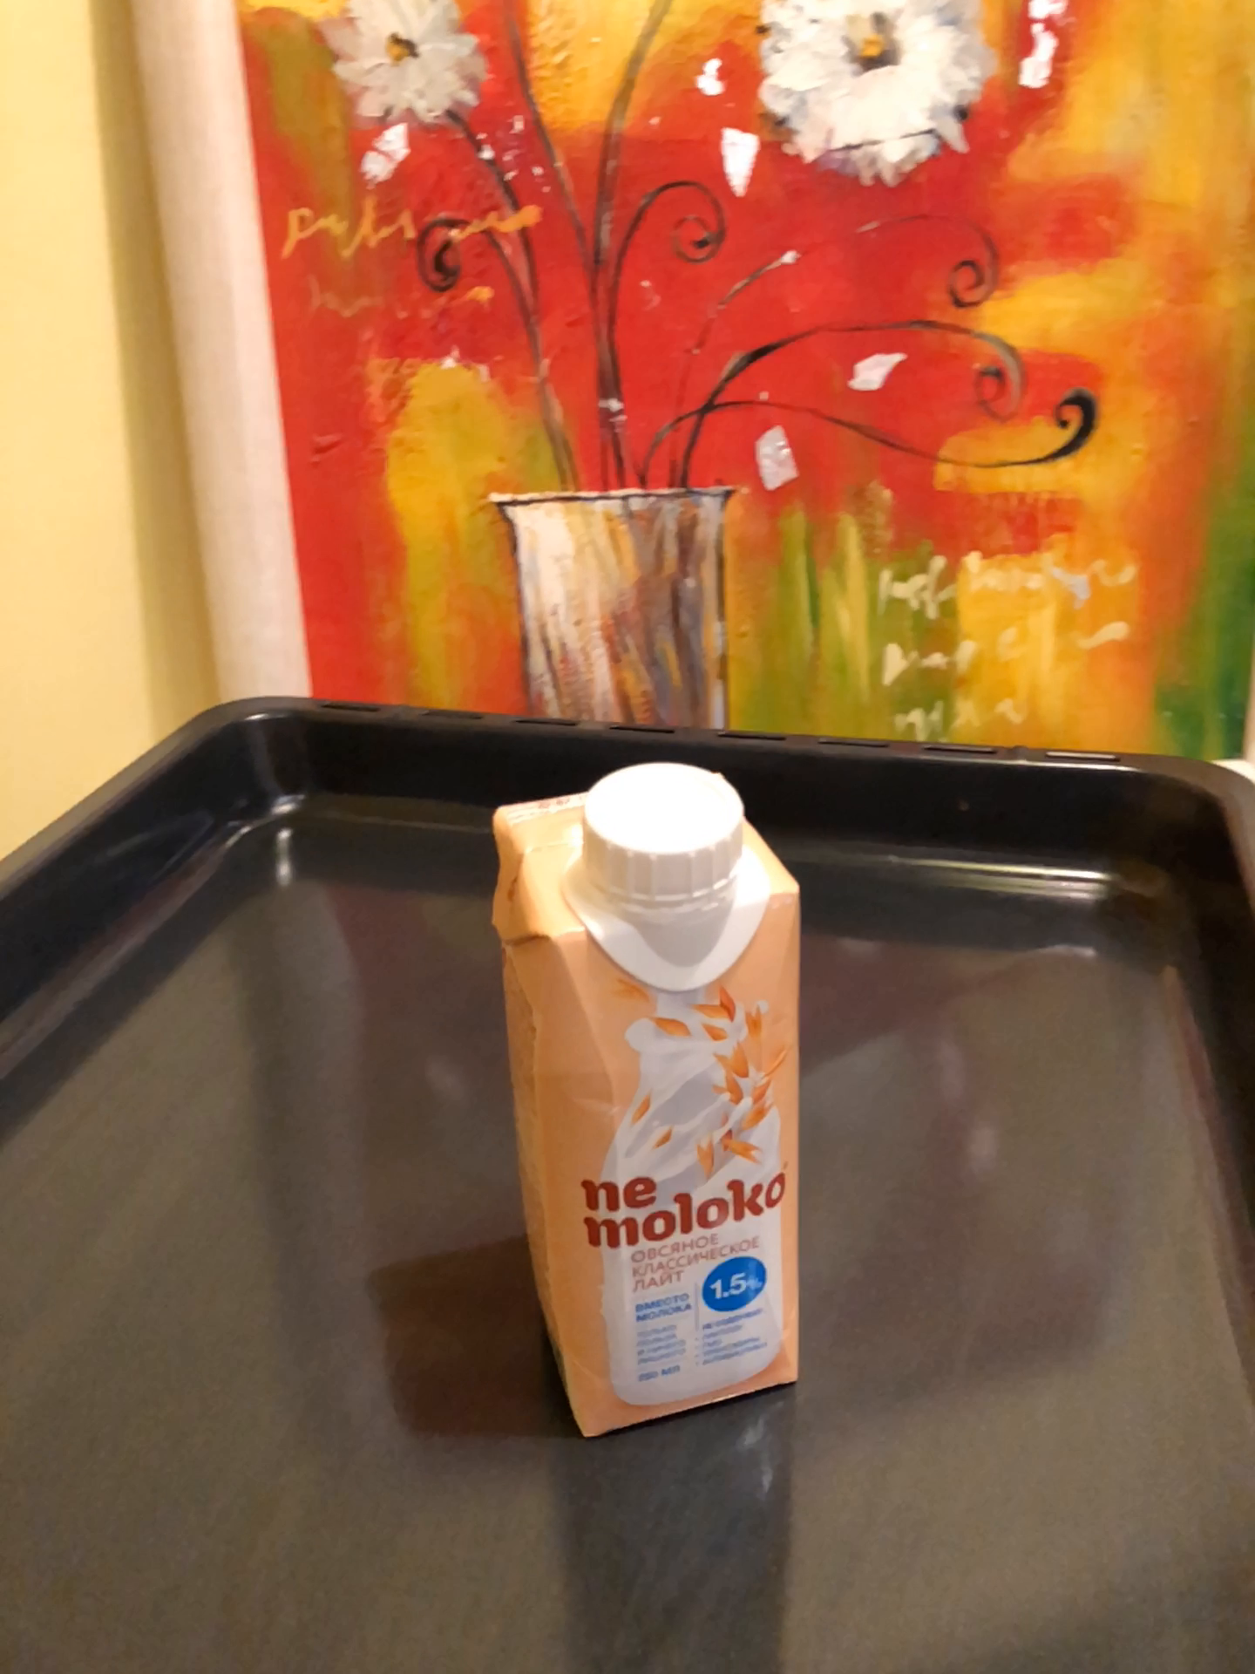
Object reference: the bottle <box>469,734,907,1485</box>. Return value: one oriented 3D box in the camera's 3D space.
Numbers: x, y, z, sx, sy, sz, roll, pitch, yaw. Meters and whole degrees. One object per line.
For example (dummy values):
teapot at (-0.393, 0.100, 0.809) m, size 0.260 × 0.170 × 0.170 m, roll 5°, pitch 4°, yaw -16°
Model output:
bottle at (0.009, 0.050, 0.266) m, size 0.060 × 0.119 × 0.060 m, roll -1°, pitch 25°, yaw 0°
